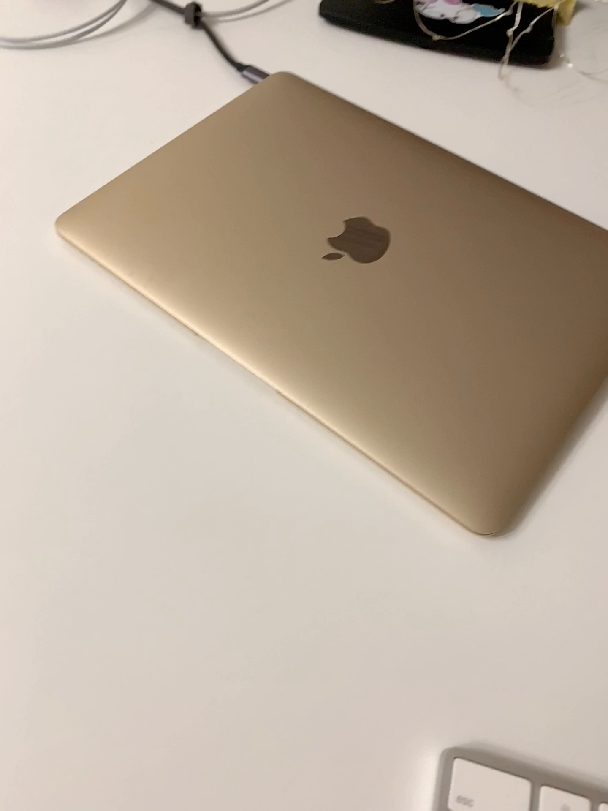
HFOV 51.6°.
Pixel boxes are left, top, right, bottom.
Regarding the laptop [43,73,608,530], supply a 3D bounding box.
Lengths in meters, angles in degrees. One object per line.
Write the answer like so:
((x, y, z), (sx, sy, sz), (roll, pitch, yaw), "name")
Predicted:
((0.017, -0.080, 0.324), (0.255, 0.009, 0.175), (35, 65, 20), "laptop")
